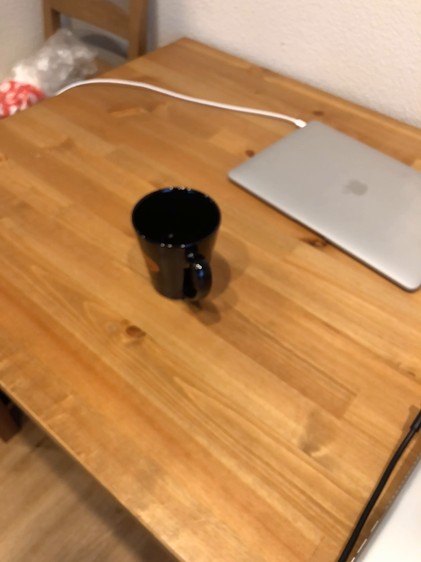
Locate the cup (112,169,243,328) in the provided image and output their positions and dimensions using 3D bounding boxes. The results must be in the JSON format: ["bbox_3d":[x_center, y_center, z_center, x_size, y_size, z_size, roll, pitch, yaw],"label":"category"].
[{"bbox_3d":[-0.037,-0.036,0.498,0.090,0.090,0.120,-17,51,-17],"label":"cup"}]
